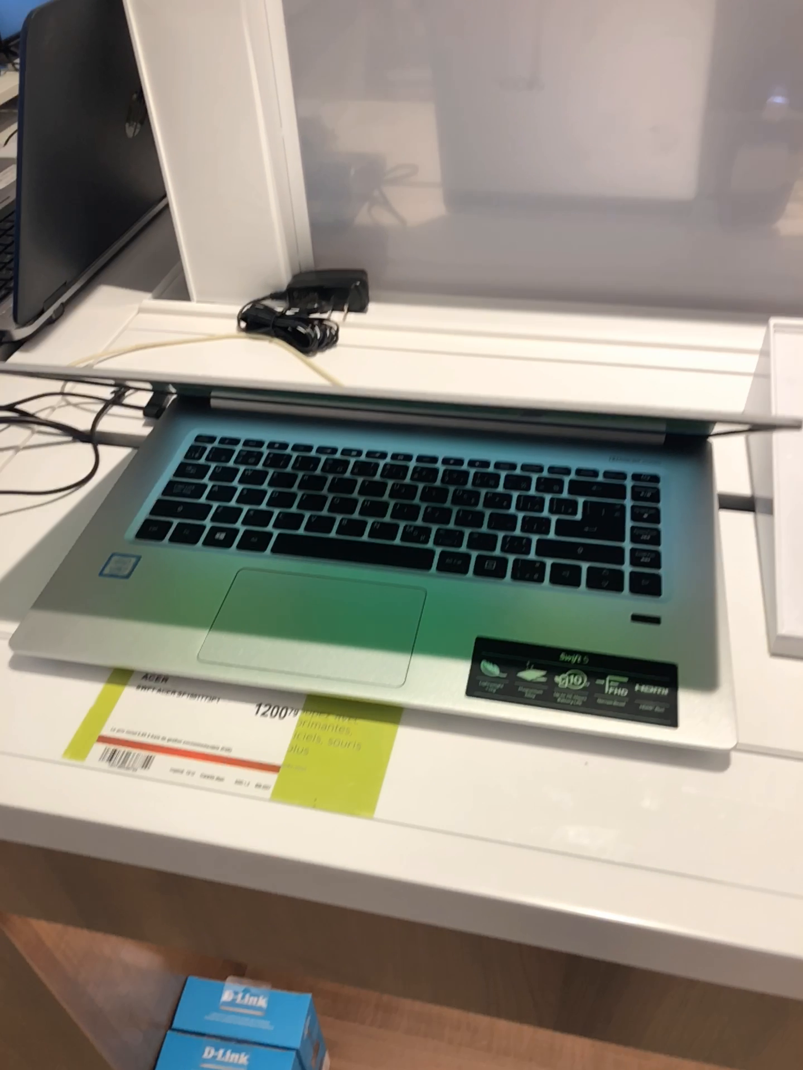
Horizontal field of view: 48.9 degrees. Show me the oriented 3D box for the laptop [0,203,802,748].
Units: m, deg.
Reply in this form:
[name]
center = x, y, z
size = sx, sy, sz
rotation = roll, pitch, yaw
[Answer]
[laptop]
center = -0.007, -0.049, 0.448
size = 0.346, 0.132, 0.218
rotation = 6, 44, 10
